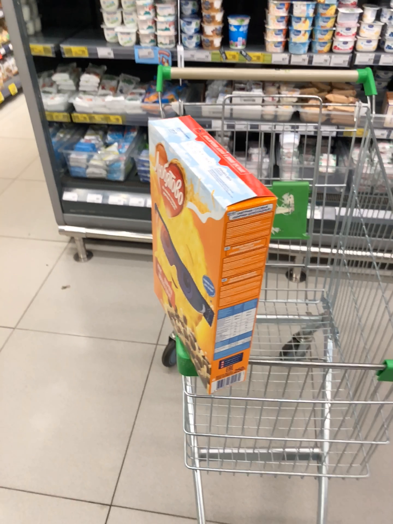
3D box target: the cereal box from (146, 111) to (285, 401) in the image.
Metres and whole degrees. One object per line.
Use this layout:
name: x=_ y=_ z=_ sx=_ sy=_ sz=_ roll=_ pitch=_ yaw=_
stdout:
cereal box: x=0.004 y=-0.006 z=0.493 sx=0.050 sy=0.258 sz=0.201 roll=-14 pitch=42 yaw=-19
